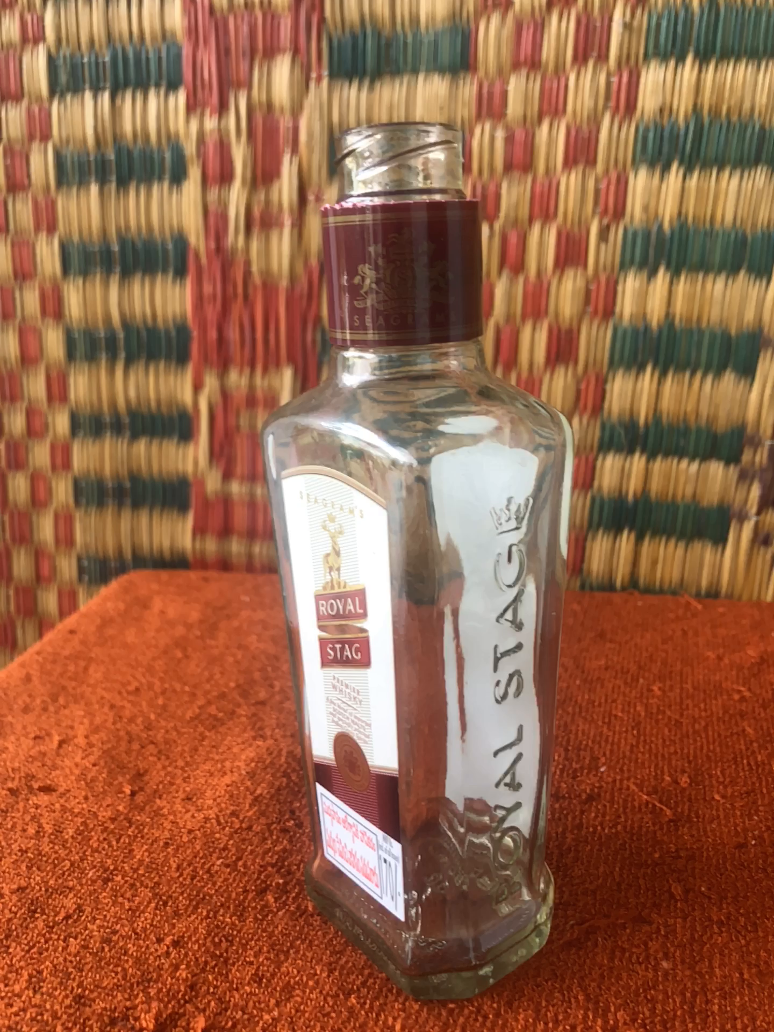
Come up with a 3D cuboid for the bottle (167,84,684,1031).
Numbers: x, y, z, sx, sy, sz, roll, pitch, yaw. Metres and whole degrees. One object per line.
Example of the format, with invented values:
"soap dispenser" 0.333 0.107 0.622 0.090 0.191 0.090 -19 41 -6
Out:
"bottle" 0.009 0.008 0.170 0.060 0.159 0.060 -3 20 1
